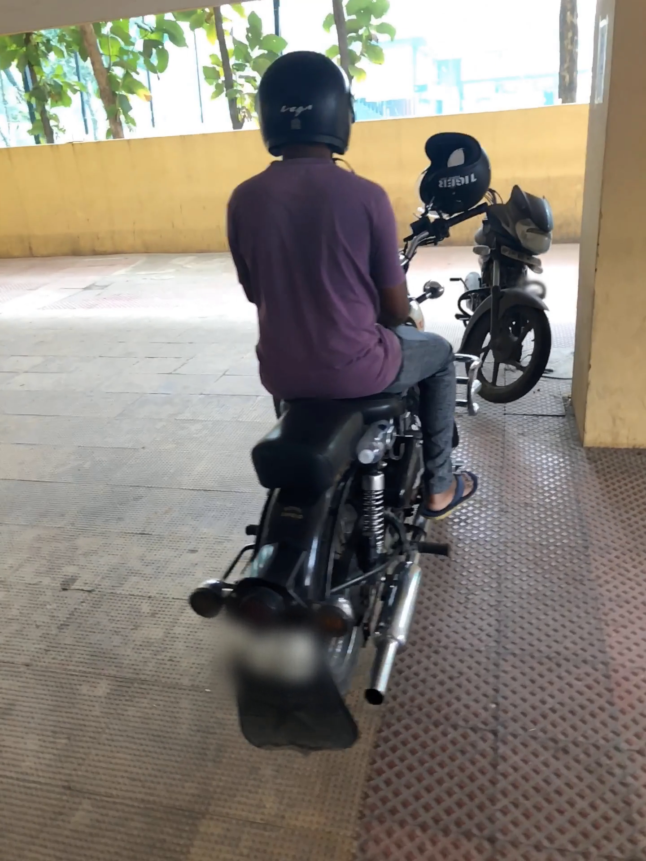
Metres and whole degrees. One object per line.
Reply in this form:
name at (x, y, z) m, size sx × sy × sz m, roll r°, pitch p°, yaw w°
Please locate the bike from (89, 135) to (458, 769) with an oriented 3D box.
bike at (0.029, -0.187, 2.286) m, size 0.726 × 1.096 × 1.772 m, roll -1°, pitch 29°, yaw 10°
